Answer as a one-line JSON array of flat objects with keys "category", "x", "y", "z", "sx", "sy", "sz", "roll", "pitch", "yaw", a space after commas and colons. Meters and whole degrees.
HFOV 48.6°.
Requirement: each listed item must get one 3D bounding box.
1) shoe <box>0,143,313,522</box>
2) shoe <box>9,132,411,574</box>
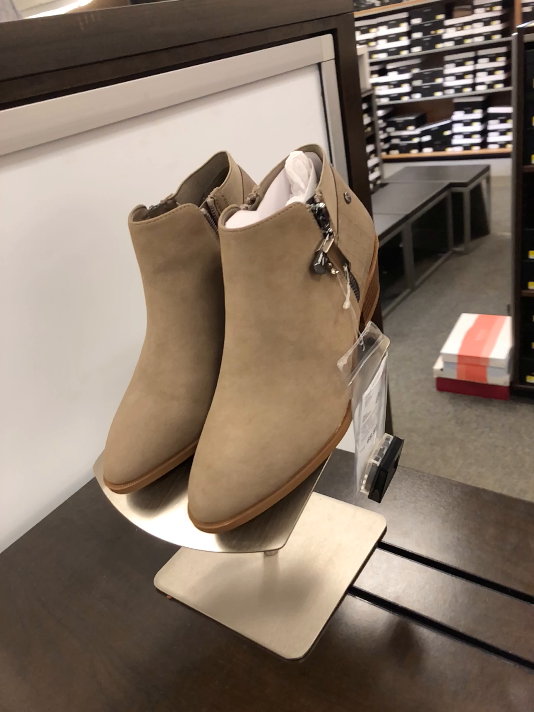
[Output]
[{"category": "shoe", "x": -0.075, "y": -0.032, "z": 0.422, "sx": 0.095, "sy": 0.152, "sz": 0.231, "roll": 8, "pitch": 40, "yaw": 33}, {"category": "shoe", "x": -0.004, "y": -0.022, "z": 0.372, "sx": 0.095, "sy": 0.153, "sz": 0.240, "roll": 8, "pitch": 38, "yaw": 33}]
